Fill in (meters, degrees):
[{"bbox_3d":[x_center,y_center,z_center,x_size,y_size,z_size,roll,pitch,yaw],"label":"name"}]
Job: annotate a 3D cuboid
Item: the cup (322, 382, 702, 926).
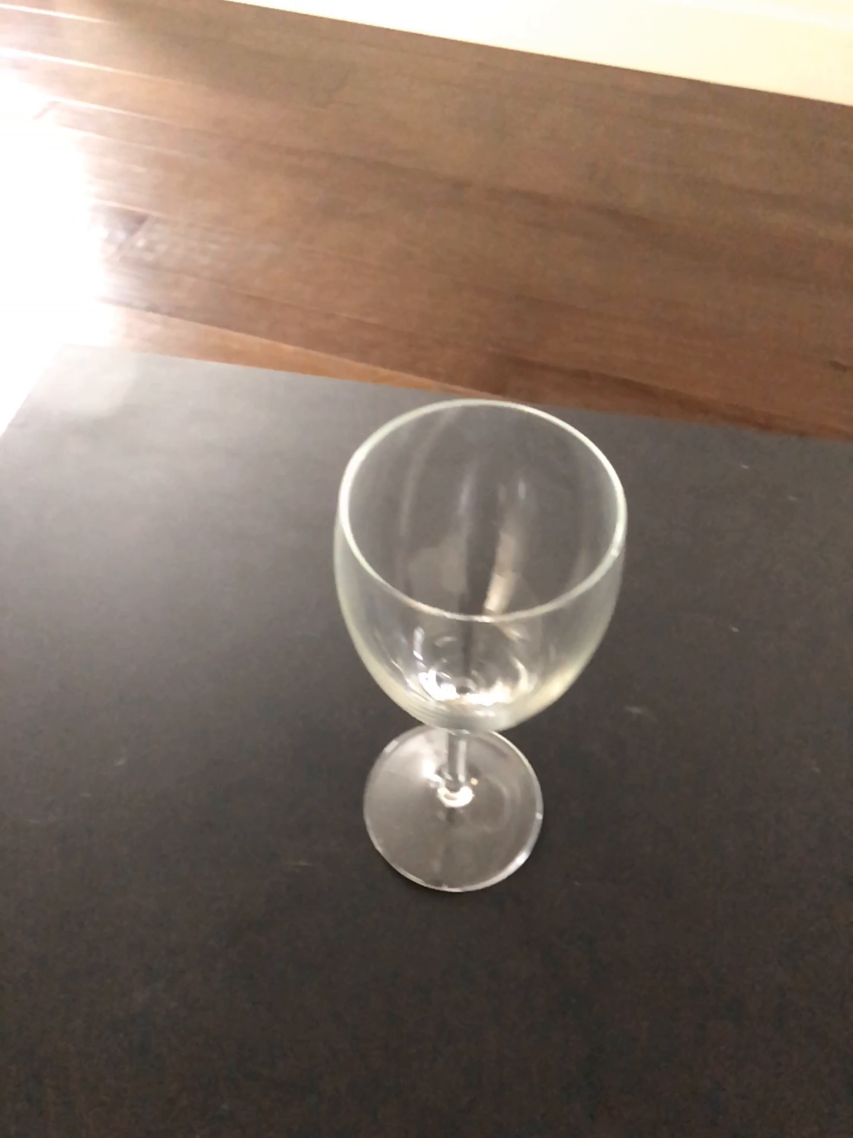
[{"bbox_3d":[0.014,0.039,0.294,0.080,0.179,0.081,1,52,-1],"label":"cup"}]
